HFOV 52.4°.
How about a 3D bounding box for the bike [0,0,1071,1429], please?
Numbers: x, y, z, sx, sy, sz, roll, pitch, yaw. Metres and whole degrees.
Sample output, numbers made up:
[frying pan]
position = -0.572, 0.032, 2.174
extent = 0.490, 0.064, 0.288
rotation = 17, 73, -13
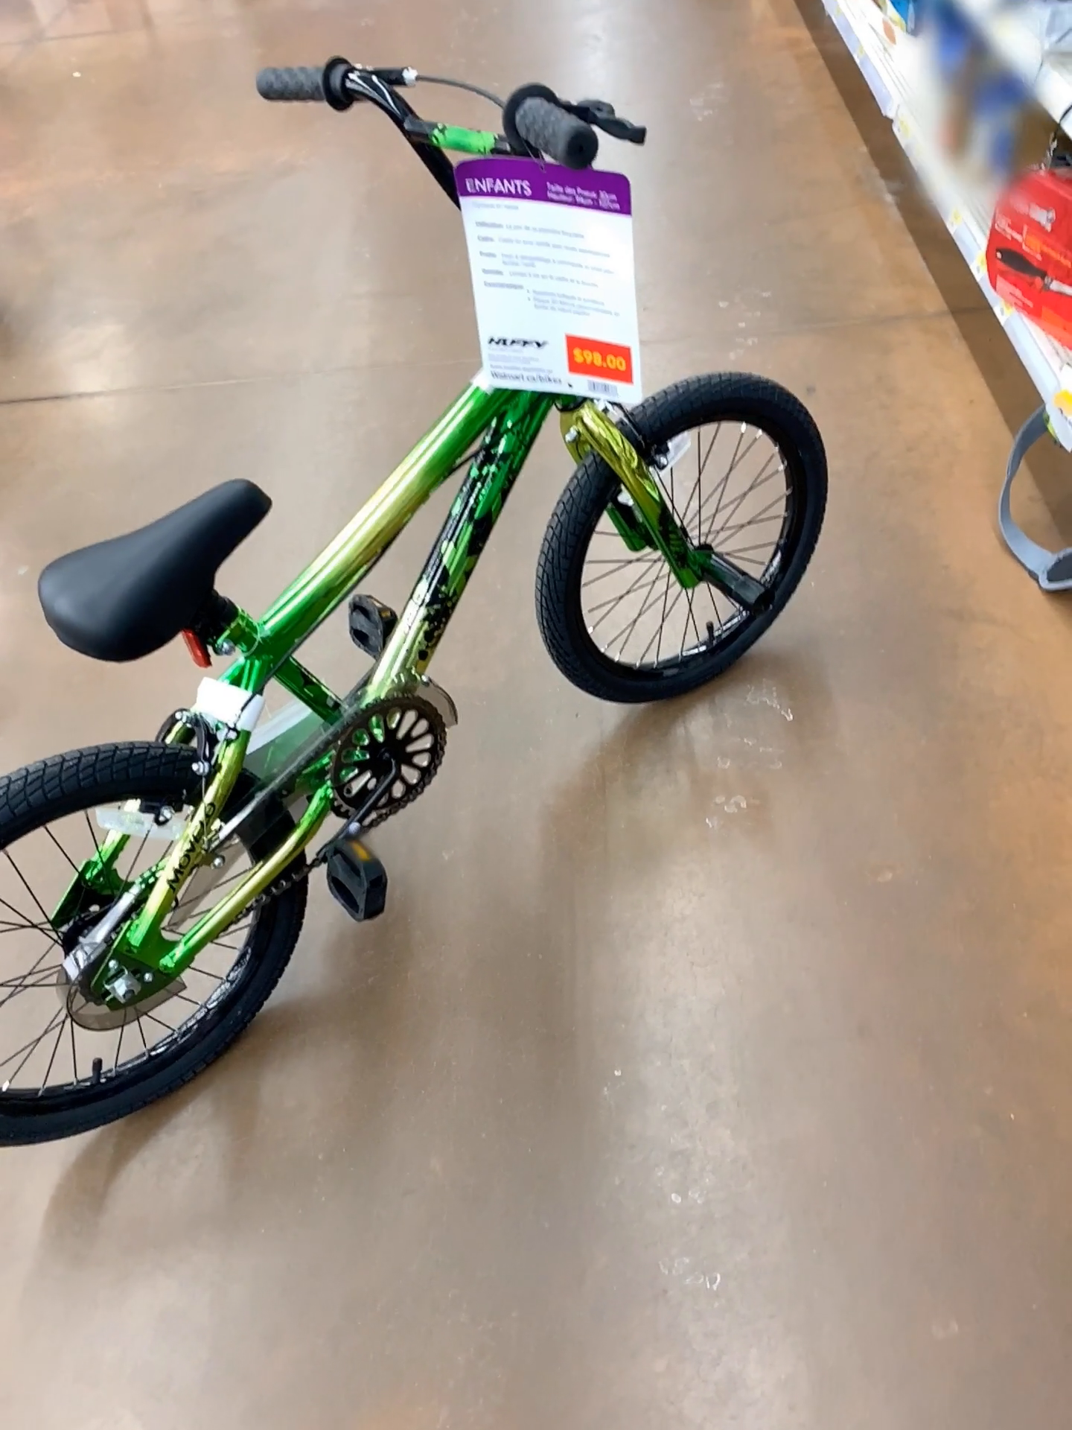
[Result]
[bike]
position = -0.050, -0.152, 1.111
extent = 1.407, 1.034, 0.720
rotation = -37, 51, -17
